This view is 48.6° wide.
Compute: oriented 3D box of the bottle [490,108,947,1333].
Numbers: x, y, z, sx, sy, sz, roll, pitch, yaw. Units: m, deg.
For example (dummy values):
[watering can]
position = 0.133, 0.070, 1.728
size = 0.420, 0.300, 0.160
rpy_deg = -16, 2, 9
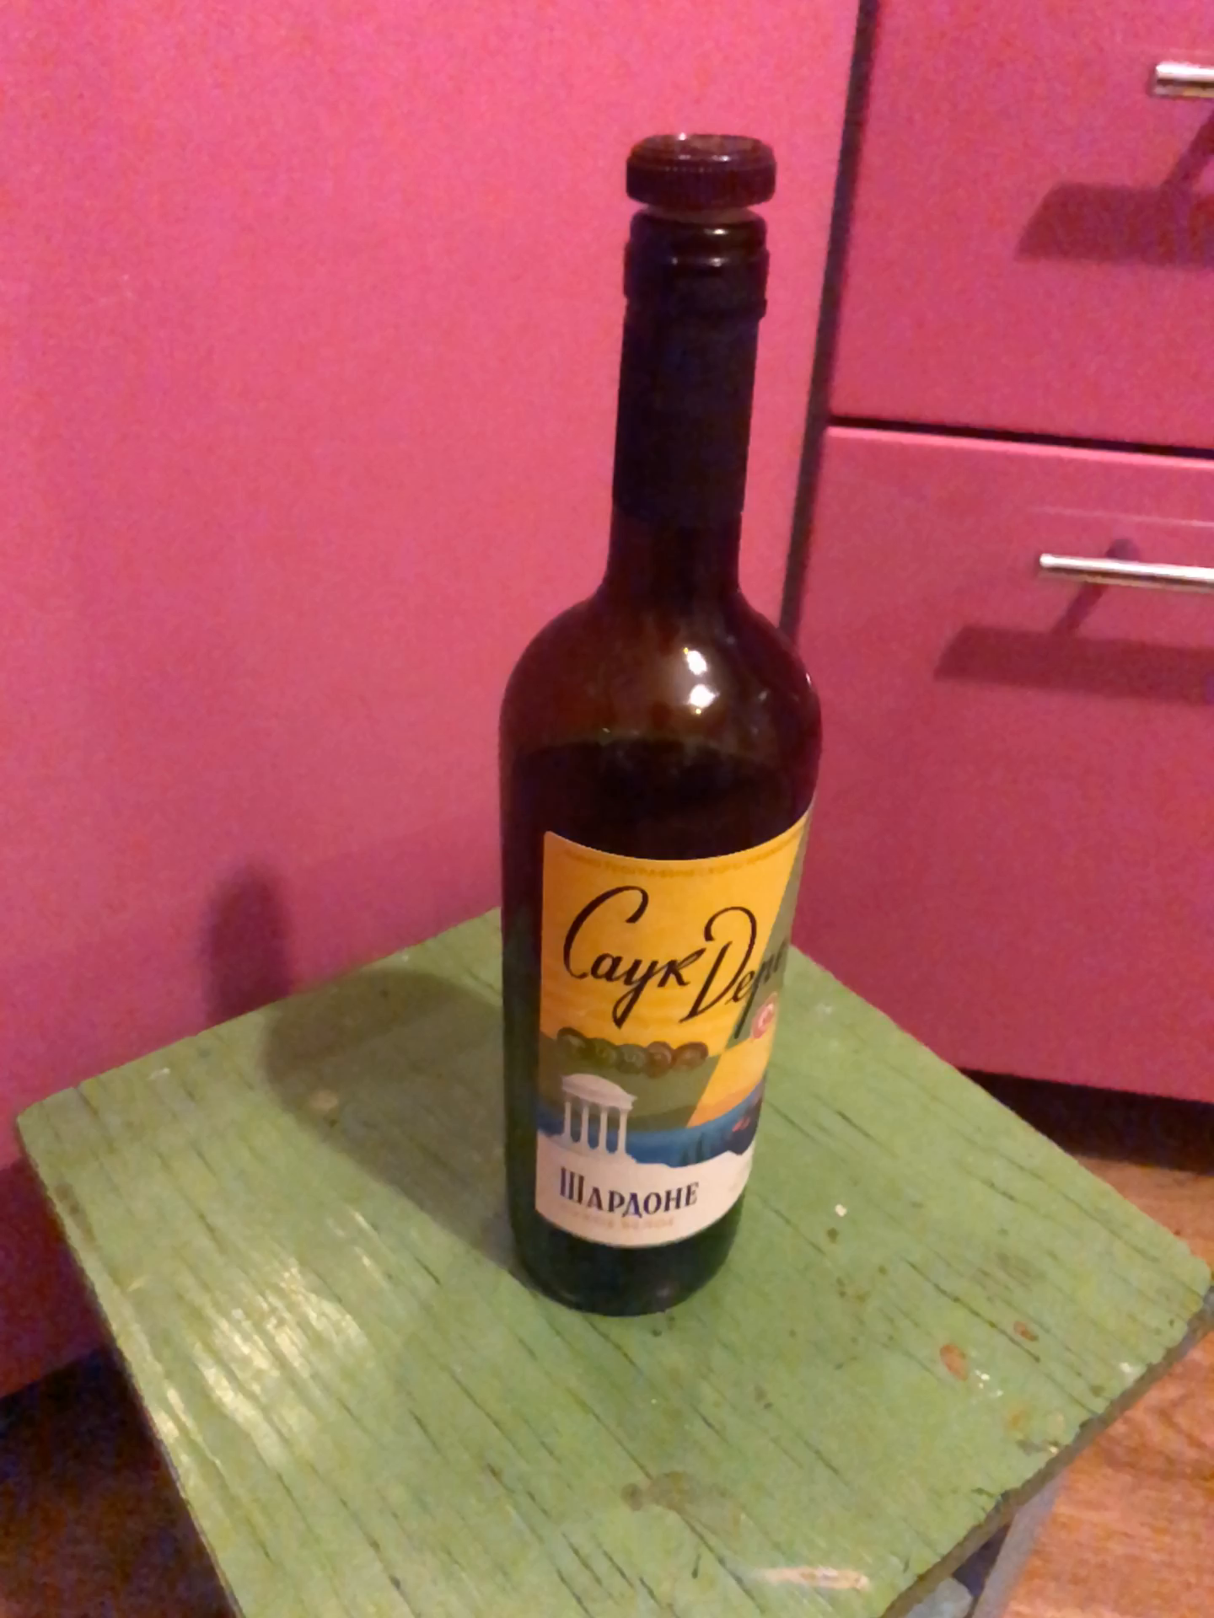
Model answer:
[bottle]
position = 0.009, 0.002, 0.330
size = 0.071, 0.301, 0.071
rpy_deg = 2, 34, -2
